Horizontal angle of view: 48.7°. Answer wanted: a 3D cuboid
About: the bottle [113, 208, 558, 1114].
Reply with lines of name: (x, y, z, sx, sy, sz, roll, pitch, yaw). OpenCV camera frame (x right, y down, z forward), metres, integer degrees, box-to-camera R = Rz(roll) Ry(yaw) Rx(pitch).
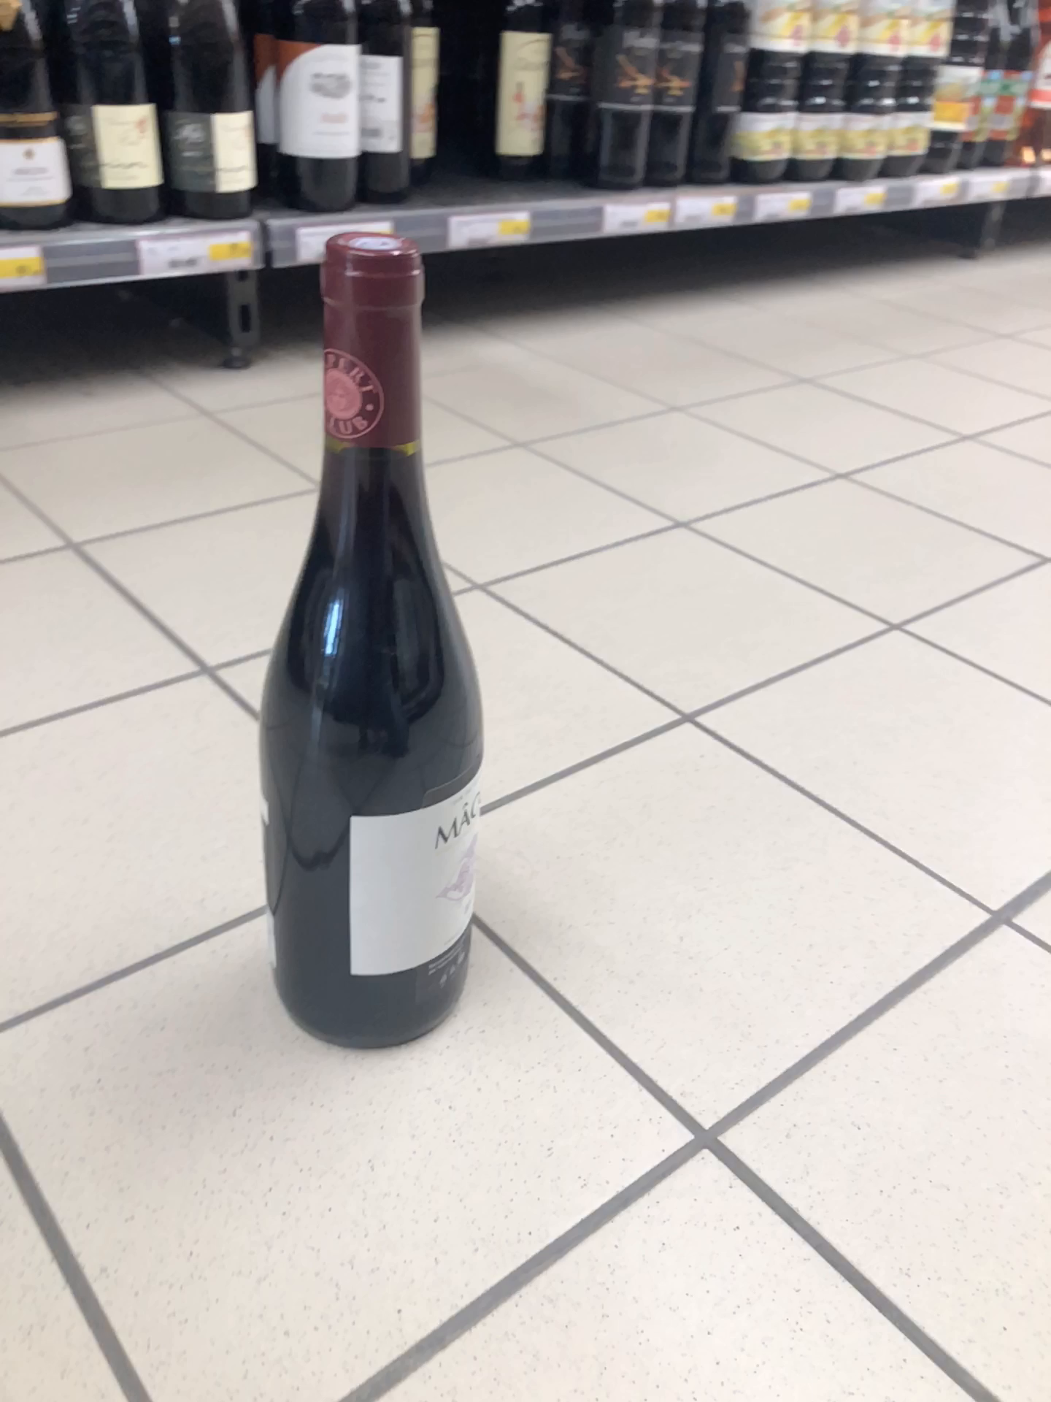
bottle: (-0.059, -0.004, 0.401, 0.090, 0.288, 0.091, 3, 31, -2)
